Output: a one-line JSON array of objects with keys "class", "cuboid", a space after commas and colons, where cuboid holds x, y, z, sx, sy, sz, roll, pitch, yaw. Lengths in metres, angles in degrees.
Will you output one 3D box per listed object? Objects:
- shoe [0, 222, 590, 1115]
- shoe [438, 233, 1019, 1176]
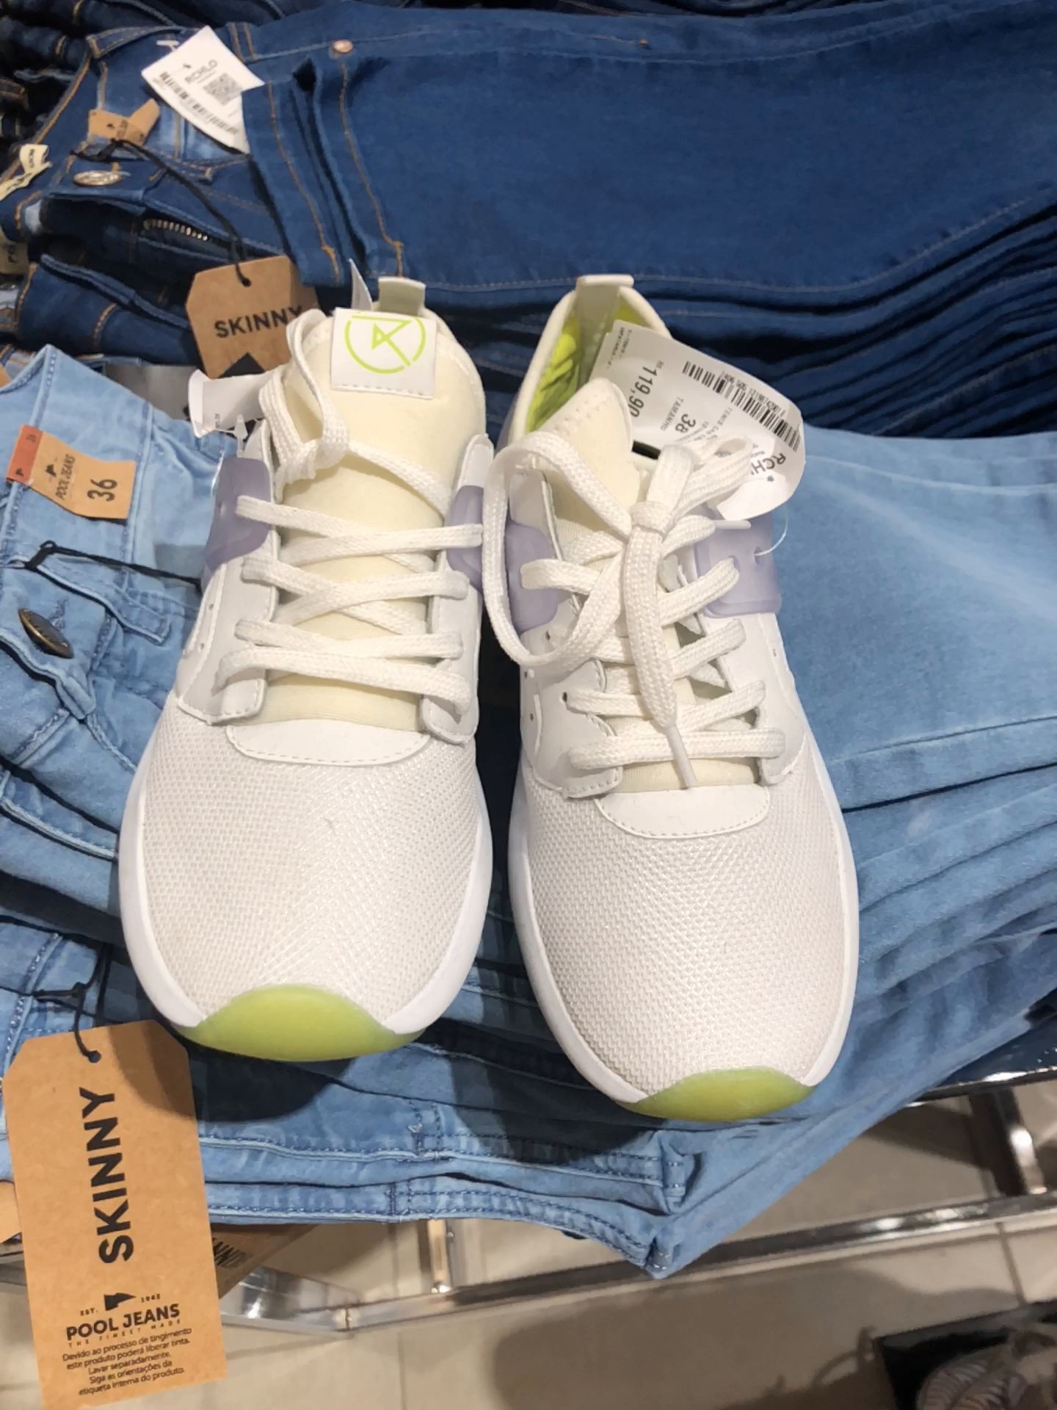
[{"class": "shoe", "cuboid": [-0.055, -0.034, 0.343, 0.110, 0.119, 0.261, 5, 38, -6]}, {"class": "shoe", "cuboid": [0.038, -0.010, 0.339, 0.100, 0.090, 0.251, -7, 59, 0]}]
